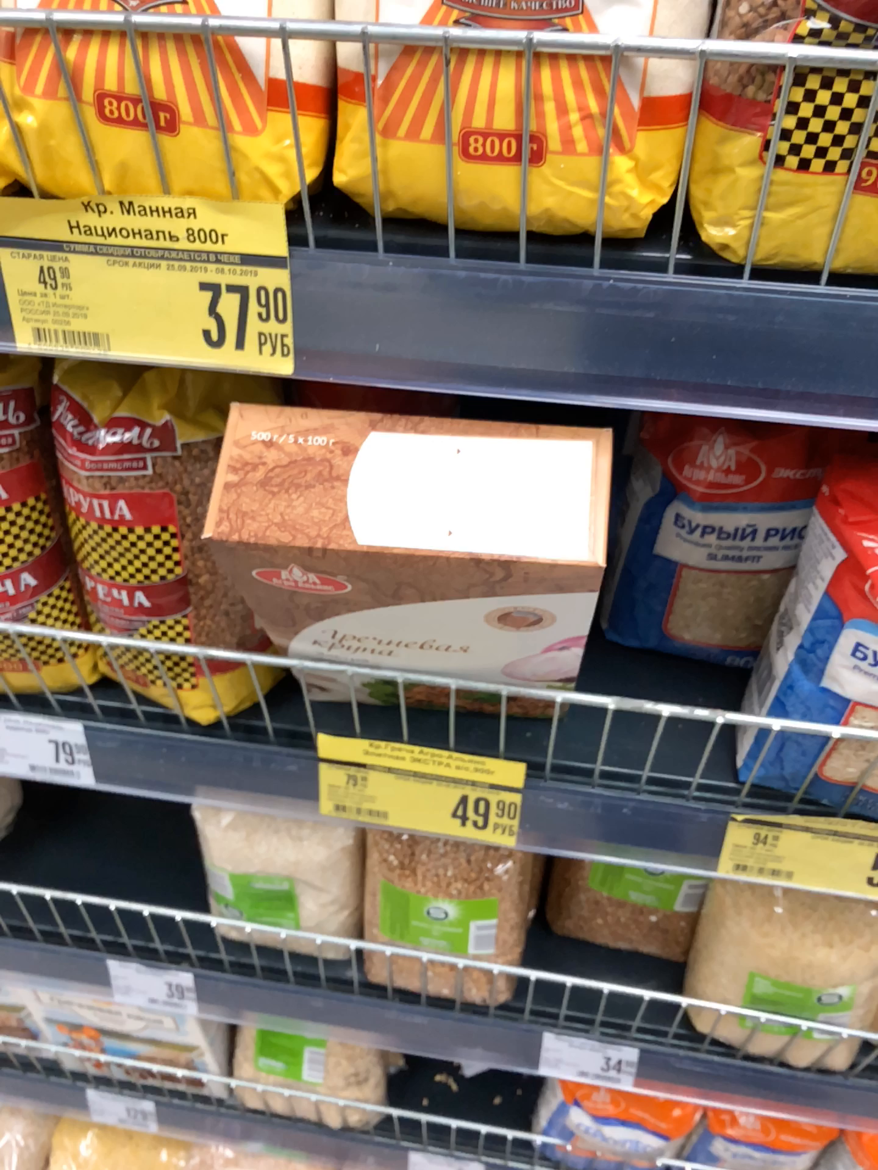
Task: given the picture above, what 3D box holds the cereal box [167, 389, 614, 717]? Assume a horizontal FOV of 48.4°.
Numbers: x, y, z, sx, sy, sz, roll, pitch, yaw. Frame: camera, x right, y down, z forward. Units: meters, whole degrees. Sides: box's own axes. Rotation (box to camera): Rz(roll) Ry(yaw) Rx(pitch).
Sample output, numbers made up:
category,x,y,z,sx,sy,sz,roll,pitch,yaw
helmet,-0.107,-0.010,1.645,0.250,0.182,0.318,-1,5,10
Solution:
category,x,y,z,sx,sy,sz,roll,pitch,yaw
cereal box,-0.009,0.000,0.407,0.140,0.199,0.050,4,68,5
